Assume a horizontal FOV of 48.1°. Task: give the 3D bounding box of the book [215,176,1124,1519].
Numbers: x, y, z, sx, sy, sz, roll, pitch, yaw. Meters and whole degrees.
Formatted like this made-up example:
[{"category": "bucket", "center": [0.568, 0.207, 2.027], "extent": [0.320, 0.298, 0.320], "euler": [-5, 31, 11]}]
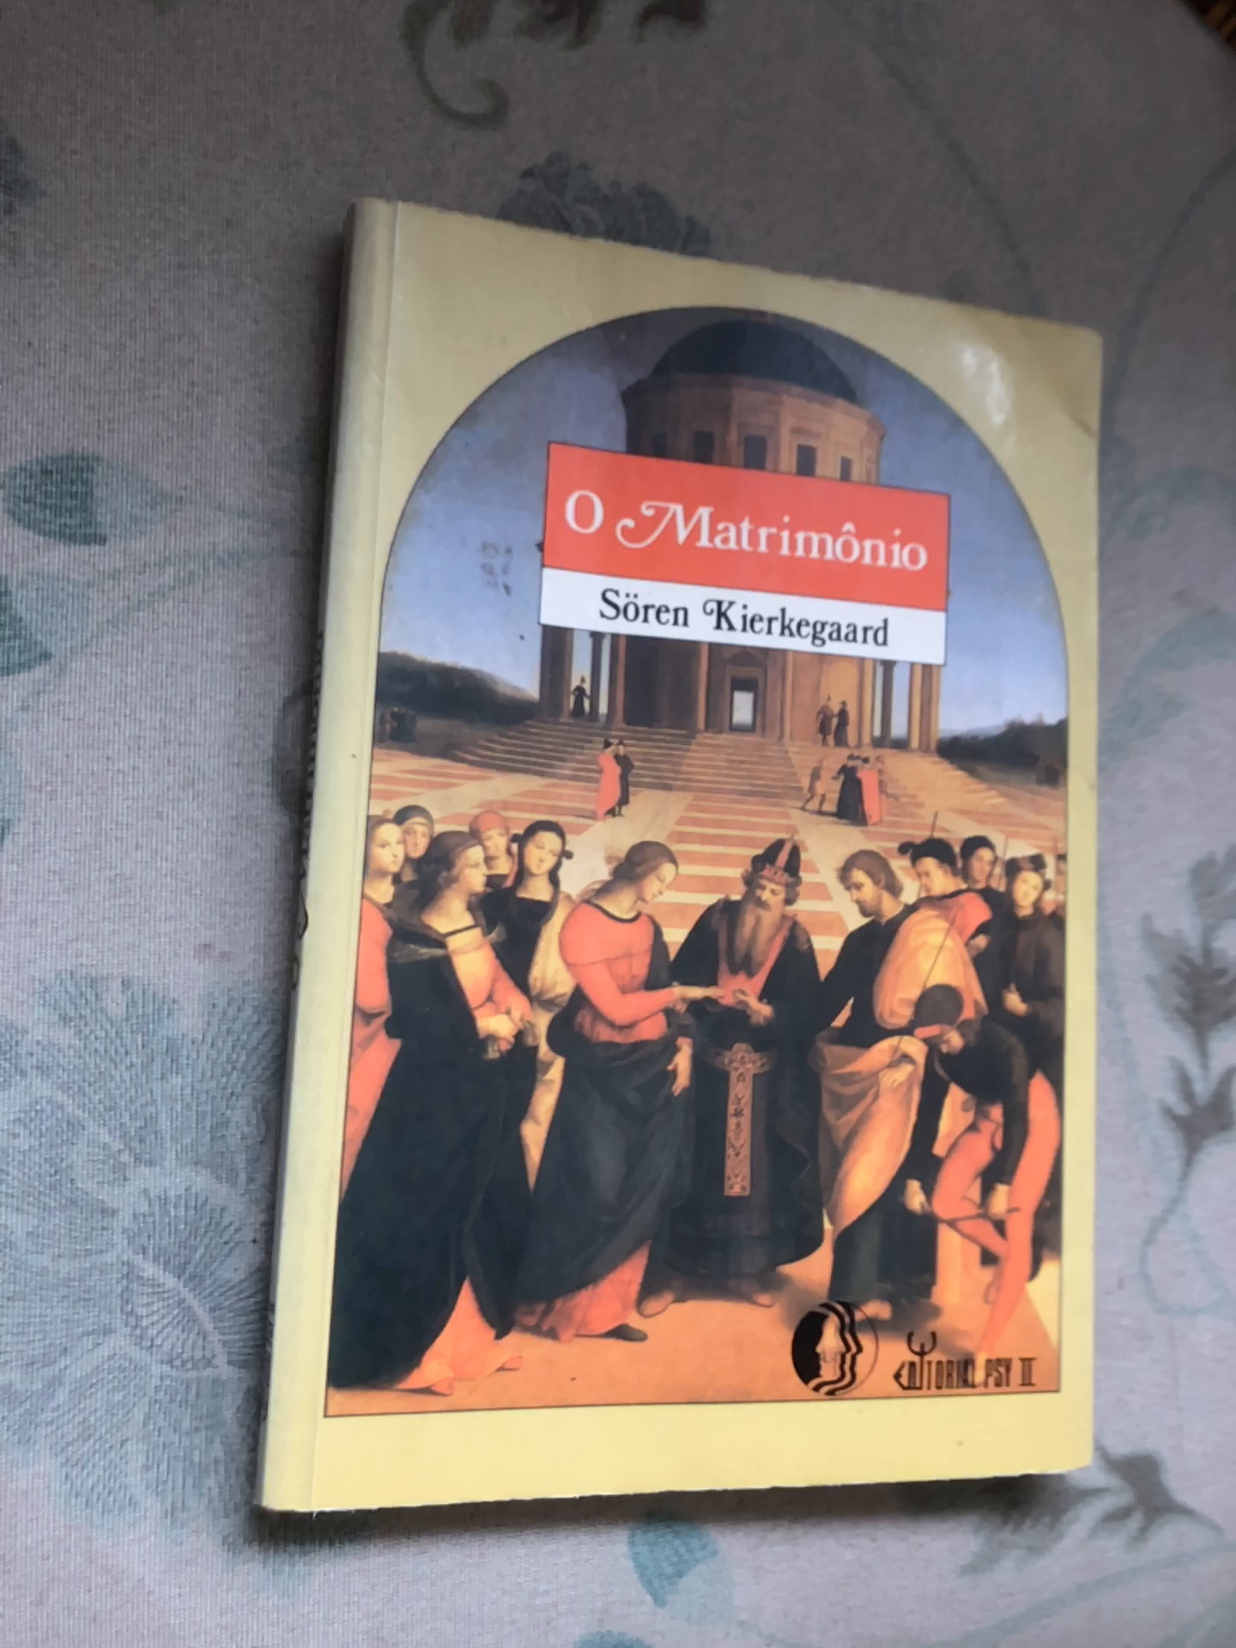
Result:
[{"category": "book", "center": [0.014, 0.006, 0.233], "extent": [0.140, 0.020, 0.200], "euler": [5, 85, -14]}]
